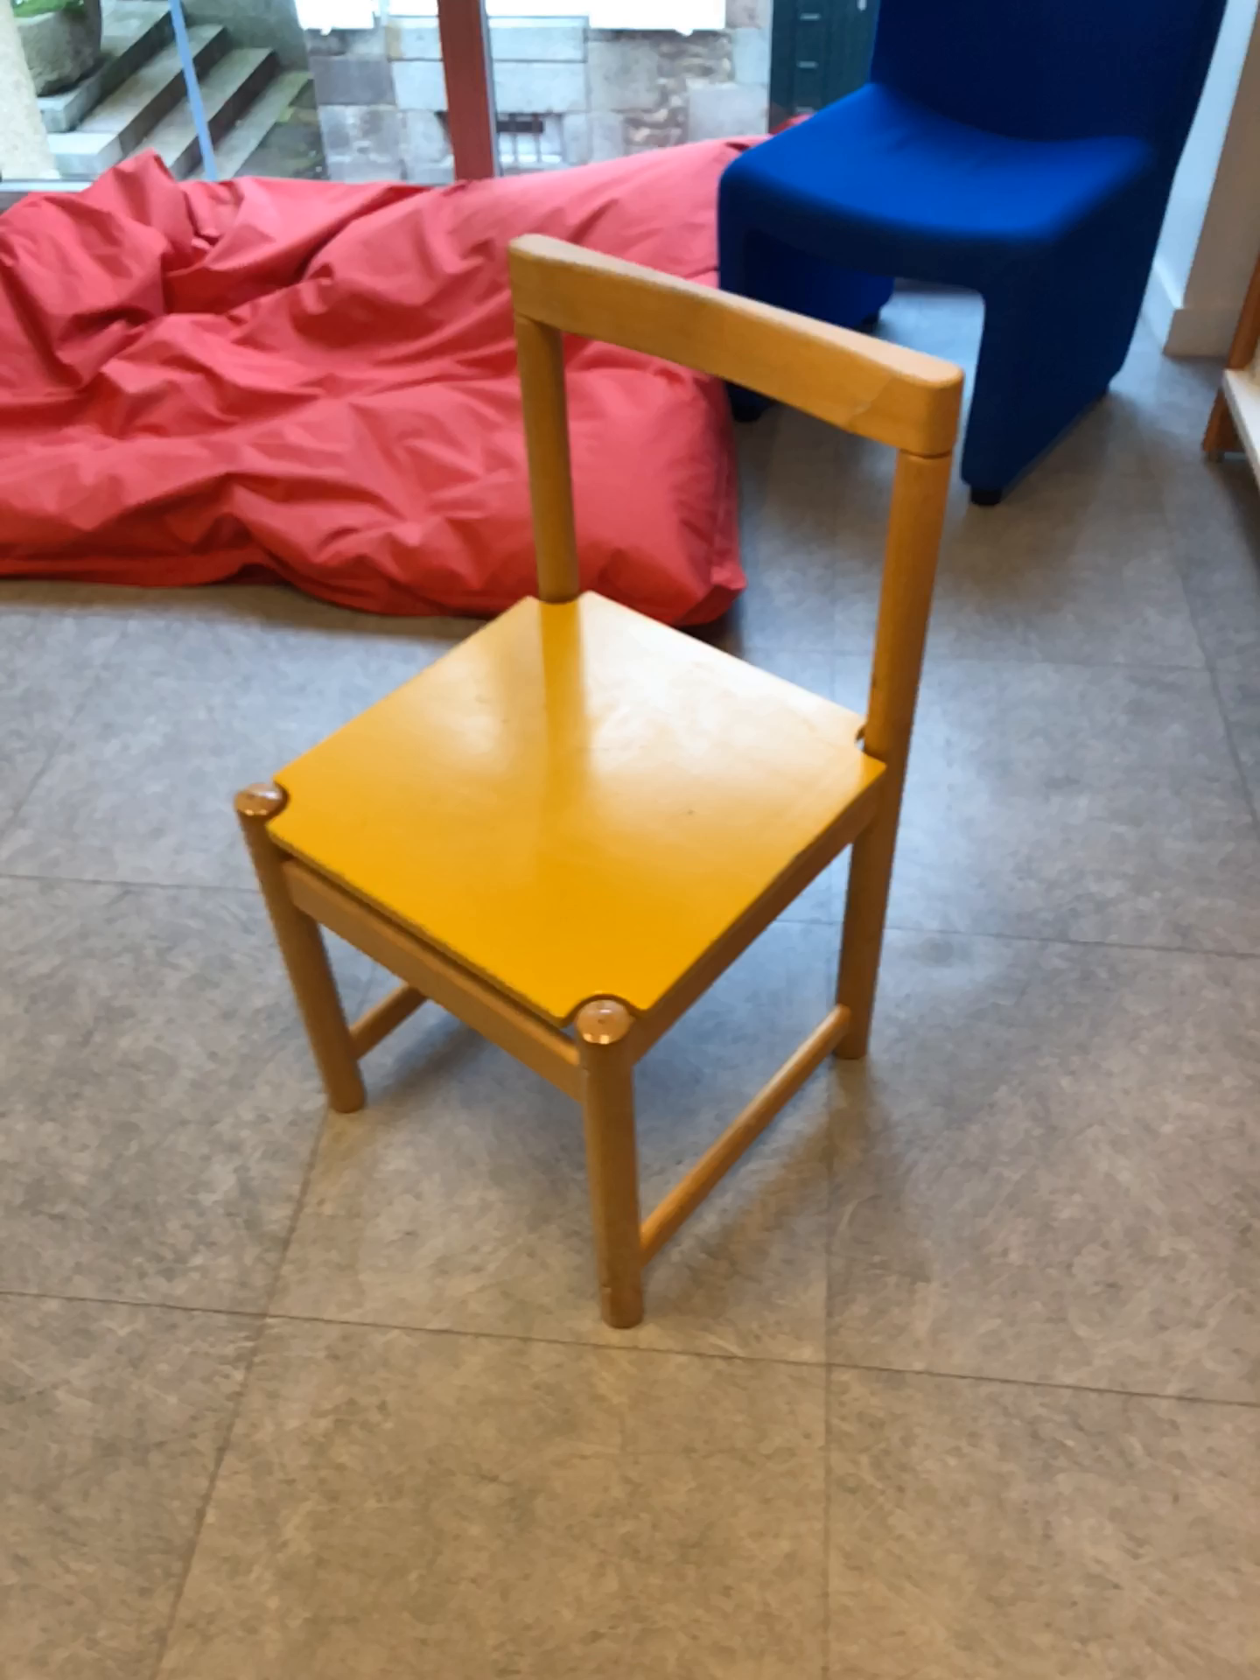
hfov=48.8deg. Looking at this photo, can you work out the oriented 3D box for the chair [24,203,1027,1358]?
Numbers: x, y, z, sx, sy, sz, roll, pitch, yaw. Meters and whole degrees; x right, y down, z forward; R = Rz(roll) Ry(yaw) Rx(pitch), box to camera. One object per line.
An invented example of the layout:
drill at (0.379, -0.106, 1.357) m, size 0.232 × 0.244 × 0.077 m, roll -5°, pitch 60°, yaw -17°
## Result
chair at (-0.052, -0.040, 1.086) m, size 0.450 × 0.666 × 0.422 m, roll 29°, pitch 52°, yaw 27°
